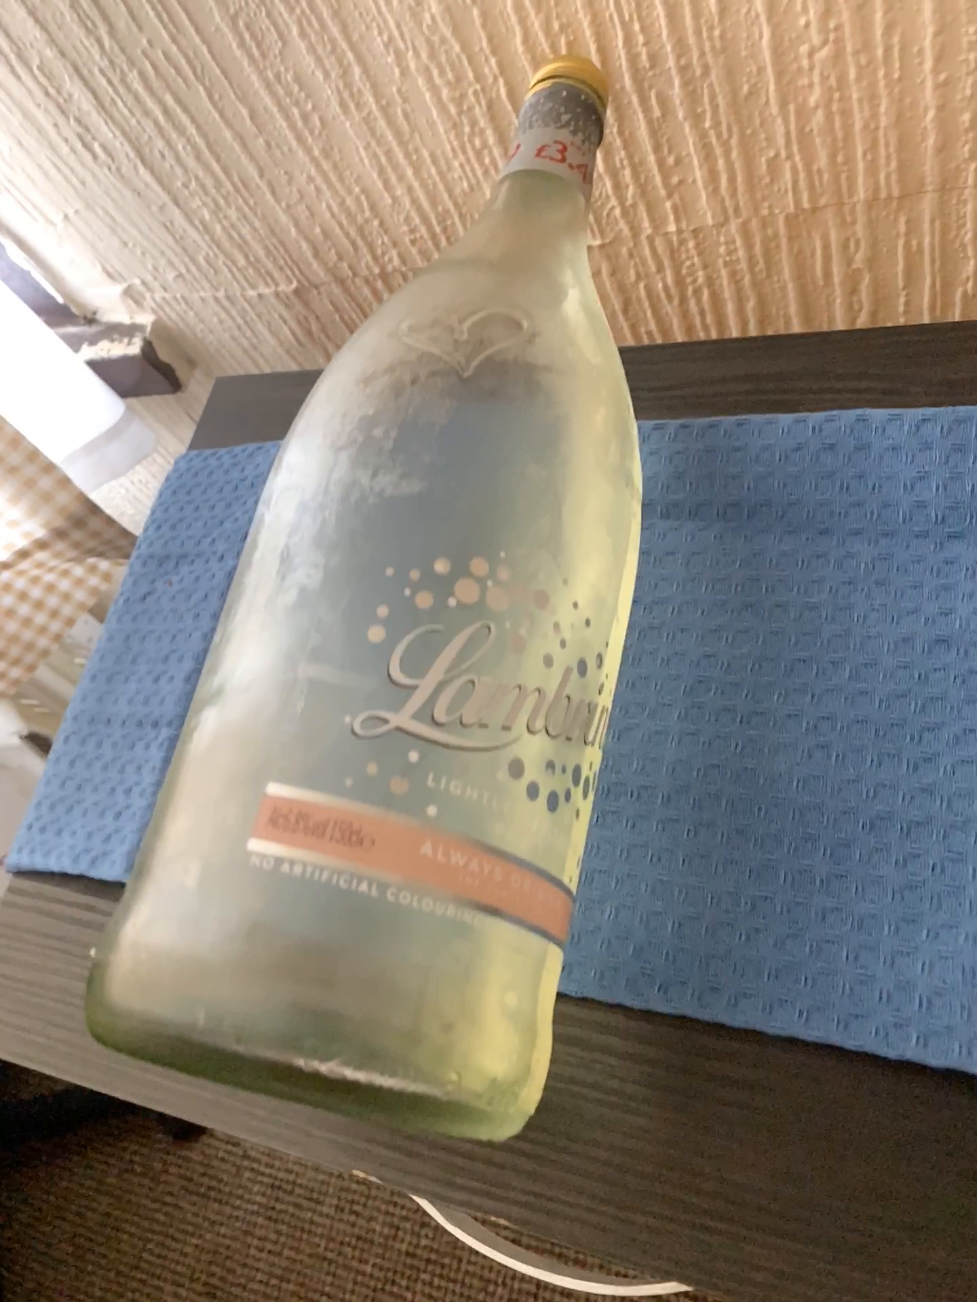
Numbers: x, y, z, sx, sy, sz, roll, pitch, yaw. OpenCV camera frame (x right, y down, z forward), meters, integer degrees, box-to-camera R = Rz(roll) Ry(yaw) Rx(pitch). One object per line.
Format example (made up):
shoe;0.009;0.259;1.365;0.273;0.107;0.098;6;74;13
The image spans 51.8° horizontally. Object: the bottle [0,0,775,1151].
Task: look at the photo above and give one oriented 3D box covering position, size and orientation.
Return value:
bottle;-0.011;-0.048;0.292;0.110;0.119;0.321;-9;59;42
